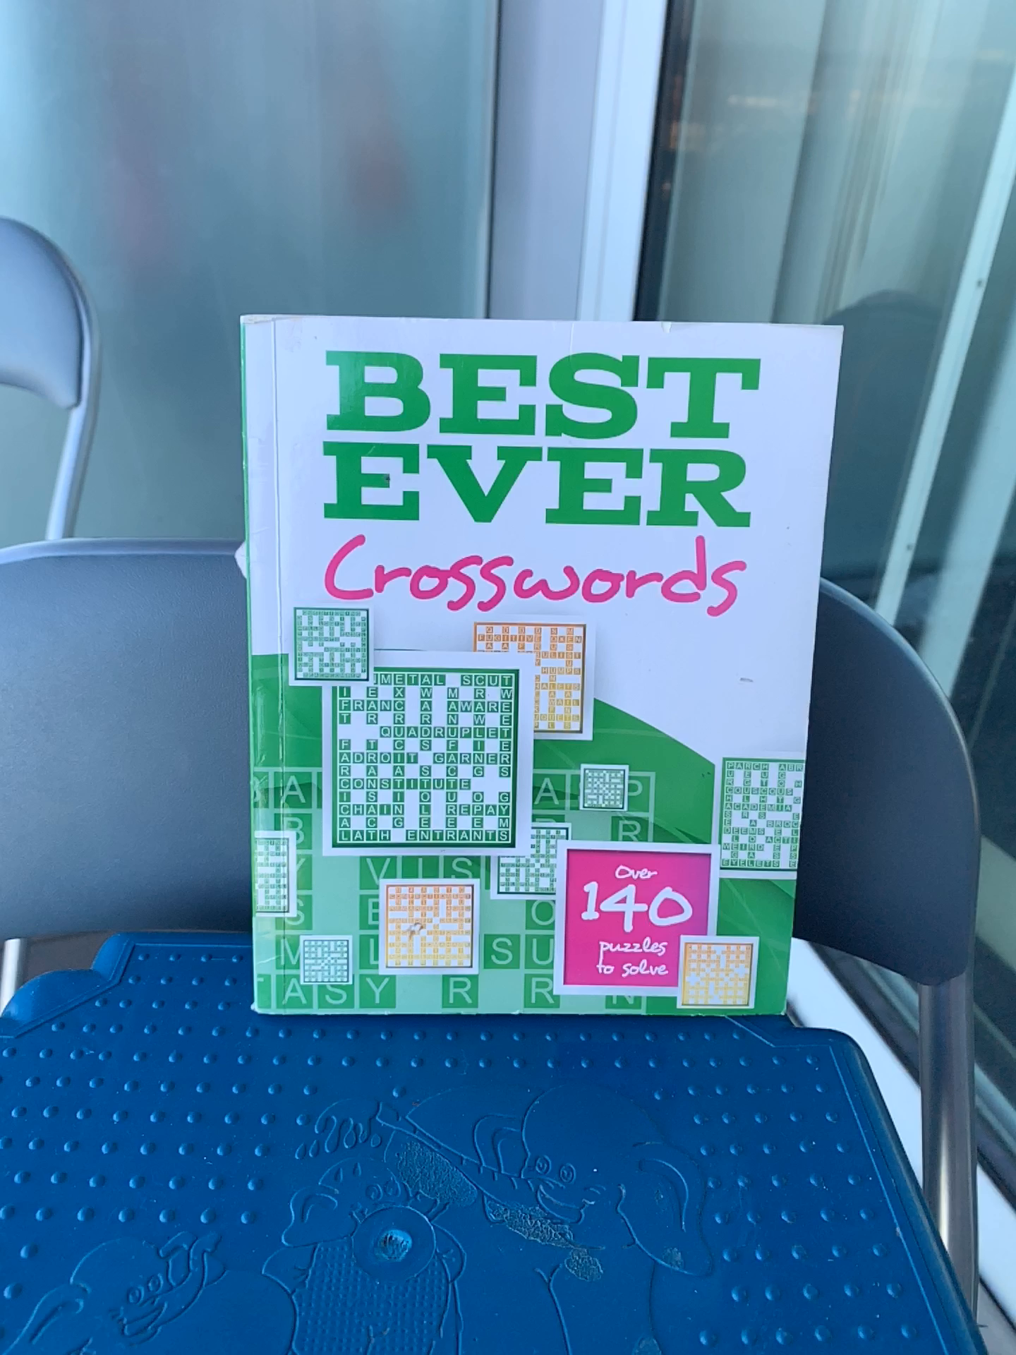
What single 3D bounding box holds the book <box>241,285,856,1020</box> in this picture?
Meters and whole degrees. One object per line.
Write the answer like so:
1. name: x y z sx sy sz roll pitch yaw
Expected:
1. book: 0.008 -0.002 0.298 0.157 0.196 0.030 1 10 -4
